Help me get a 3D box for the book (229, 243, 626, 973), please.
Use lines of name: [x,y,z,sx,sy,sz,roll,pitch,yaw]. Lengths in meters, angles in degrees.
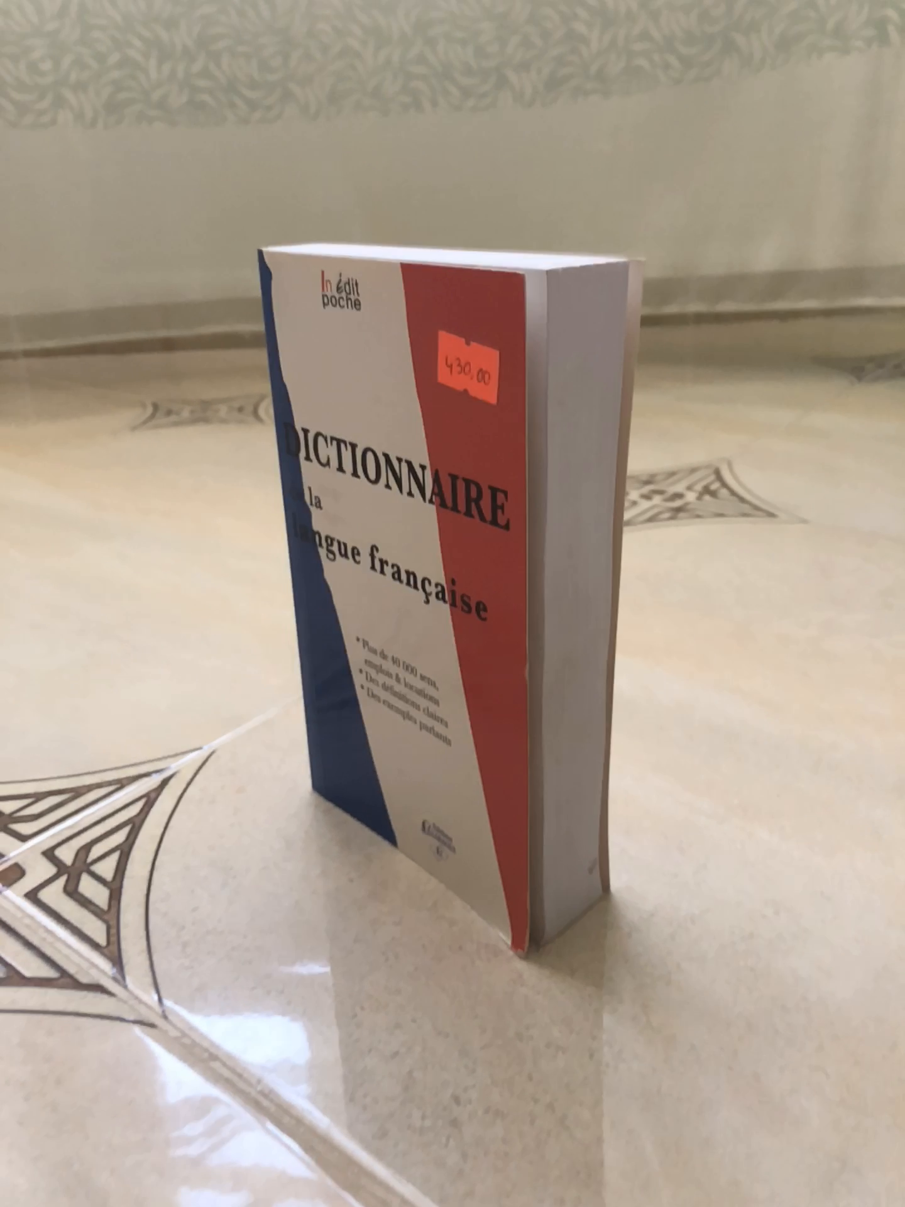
book: [-0.009,-0.005,0.292,0.034,0.182,0.121,-20,29,-35]
